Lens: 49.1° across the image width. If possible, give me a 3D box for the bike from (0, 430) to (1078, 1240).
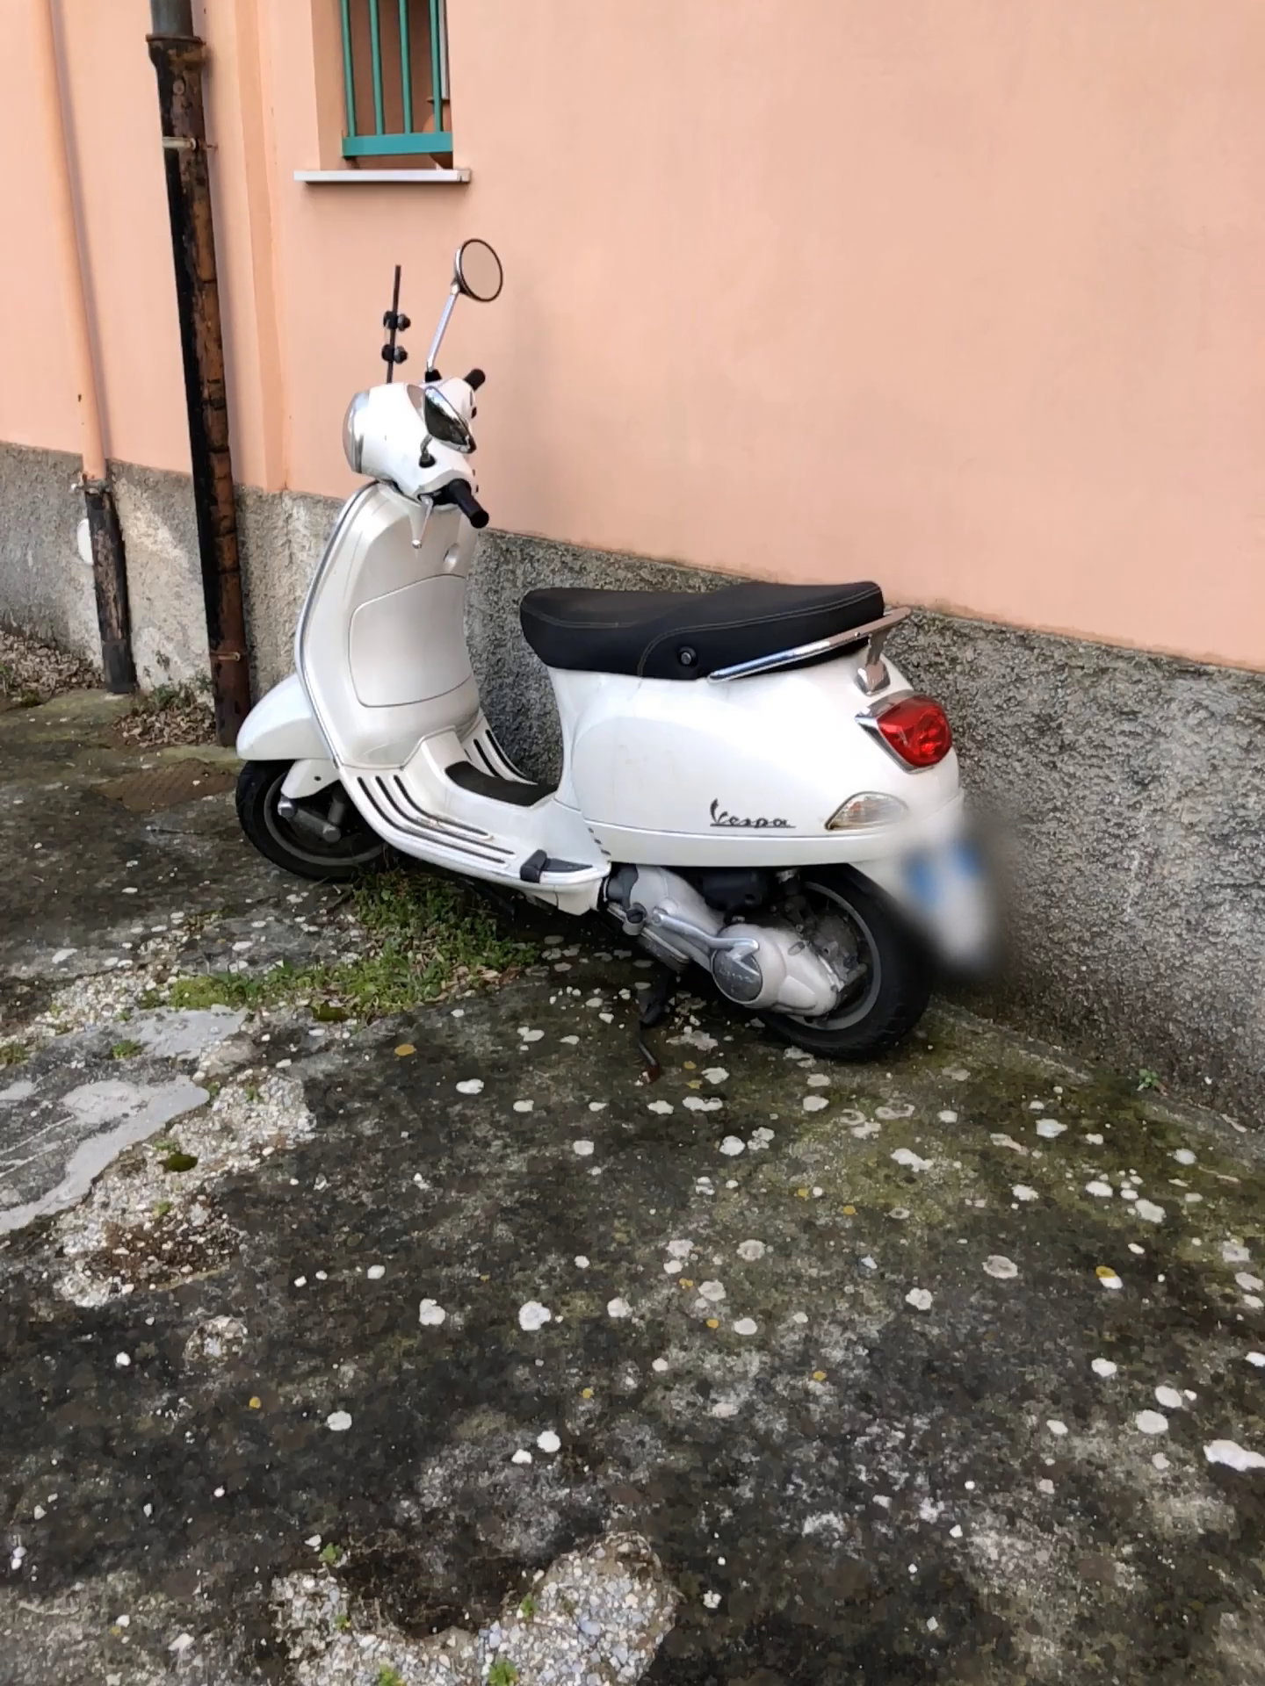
[{"bbox_3d":[-0.263,-0.148,2.474,1.658,1.086,0.646,13,24,31],"label":"bike"}]
